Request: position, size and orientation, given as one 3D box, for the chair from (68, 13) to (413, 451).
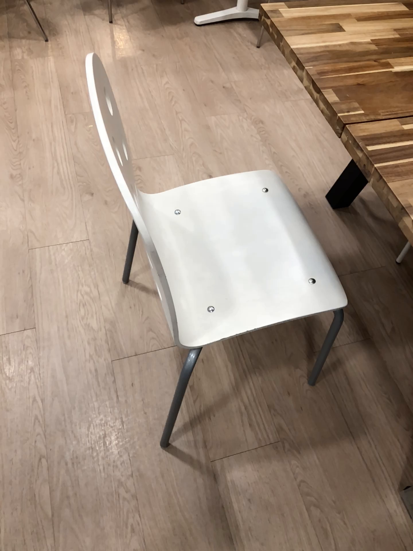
[{"bbox_3d":[0.041,-0.067,1.021,0.490,0.716,0.573,-13,55,-15],"label":"chair"}]
